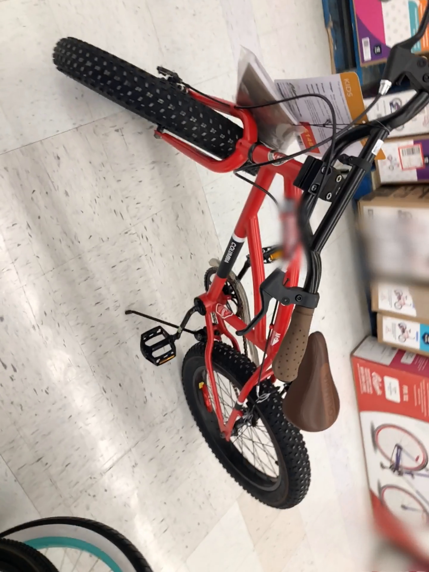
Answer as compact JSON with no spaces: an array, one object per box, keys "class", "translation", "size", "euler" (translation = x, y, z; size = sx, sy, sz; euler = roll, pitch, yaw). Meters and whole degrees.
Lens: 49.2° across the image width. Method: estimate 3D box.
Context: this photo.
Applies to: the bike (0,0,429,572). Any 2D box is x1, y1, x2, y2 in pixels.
[{"class":"bike","translation":[0.041,0.089,1.144],"size":[0.609,0.968,1.359],"euler":[-37,119,-35]}]
